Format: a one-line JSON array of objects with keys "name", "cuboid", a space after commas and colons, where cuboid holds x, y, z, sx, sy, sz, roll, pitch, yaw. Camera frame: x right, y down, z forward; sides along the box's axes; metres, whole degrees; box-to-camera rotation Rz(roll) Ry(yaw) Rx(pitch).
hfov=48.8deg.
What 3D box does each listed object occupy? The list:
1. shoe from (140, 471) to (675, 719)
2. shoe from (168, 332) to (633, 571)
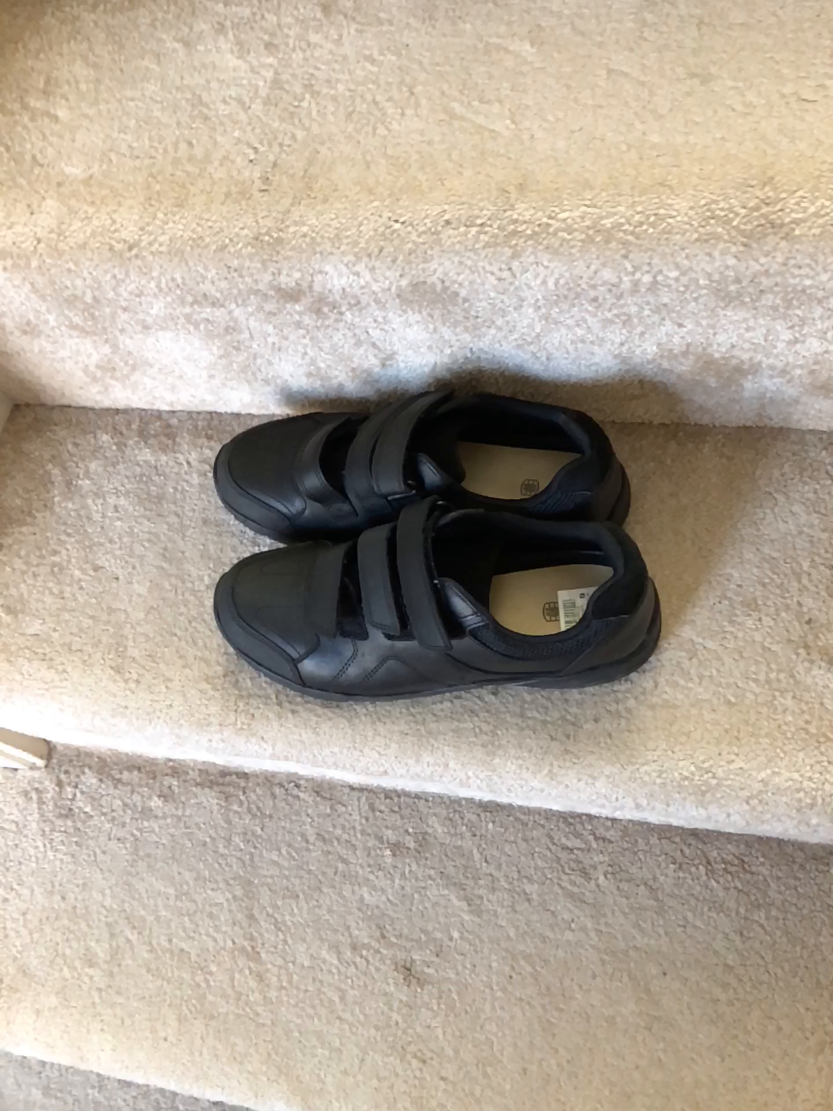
[{"name": "shoe", "cuboid": [0.001, 0.027, 0.517, 0.270, 0.100, 0.100, -1, 64, 13]}, {"name": "shoe", "cuboid": [-0.003, -0.059, 0.585, 0.270, 0.100, 0.100, -1, 64, 13]}]
